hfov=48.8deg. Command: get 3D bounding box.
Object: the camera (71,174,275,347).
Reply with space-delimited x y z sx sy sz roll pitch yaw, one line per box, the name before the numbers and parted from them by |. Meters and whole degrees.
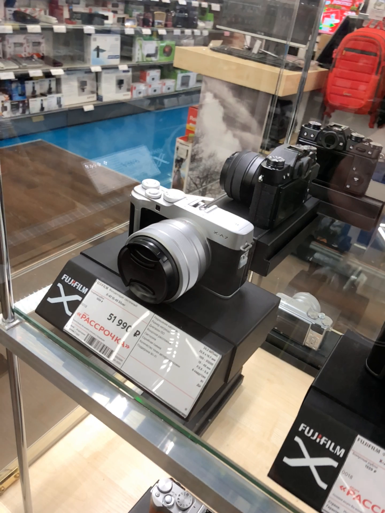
camera | -0.019 -0.007 0.361 0.133 0.066 0.100 27 36 26
